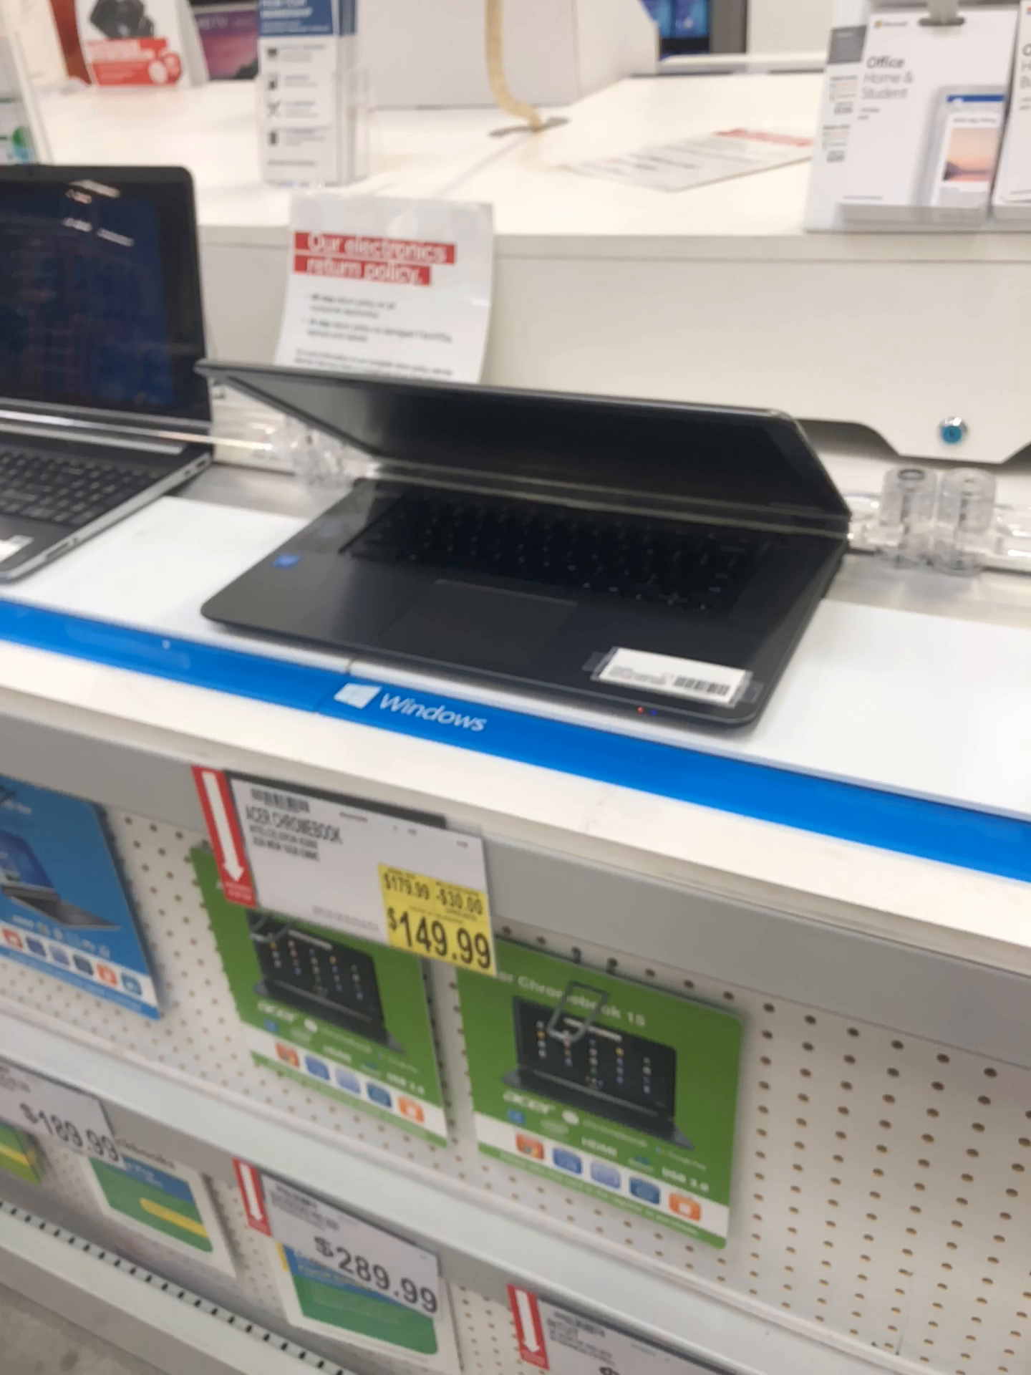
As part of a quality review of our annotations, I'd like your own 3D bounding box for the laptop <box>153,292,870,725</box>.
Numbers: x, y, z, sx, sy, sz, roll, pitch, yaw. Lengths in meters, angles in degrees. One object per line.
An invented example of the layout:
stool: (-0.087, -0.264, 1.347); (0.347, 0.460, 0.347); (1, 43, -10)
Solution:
laptop: (0.002, -0.133, 0.709); (0.365, 0.136, 0.220); (12, 39, 25)
